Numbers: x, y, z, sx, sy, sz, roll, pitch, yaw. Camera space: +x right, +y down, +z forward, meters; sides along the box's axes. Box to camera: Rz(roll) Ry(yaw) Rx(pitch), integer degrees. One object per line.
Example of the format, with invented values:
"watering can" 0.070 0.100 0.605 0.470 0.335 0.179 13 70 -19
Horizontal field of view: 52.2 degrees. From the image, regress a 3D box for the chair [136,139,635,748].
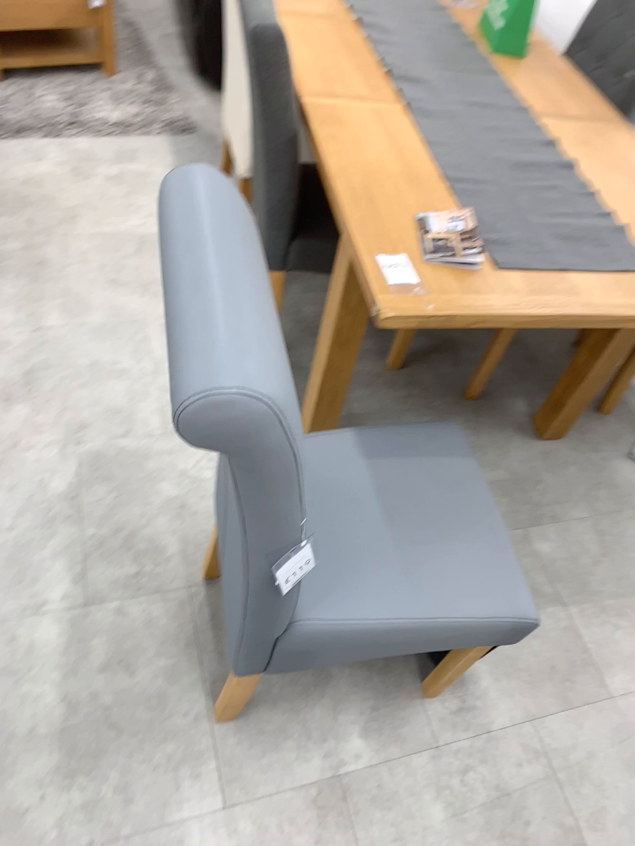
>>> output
"chair" 0.061 0.109 1.074 0.655 0.907 0.476 -2 51 -15
